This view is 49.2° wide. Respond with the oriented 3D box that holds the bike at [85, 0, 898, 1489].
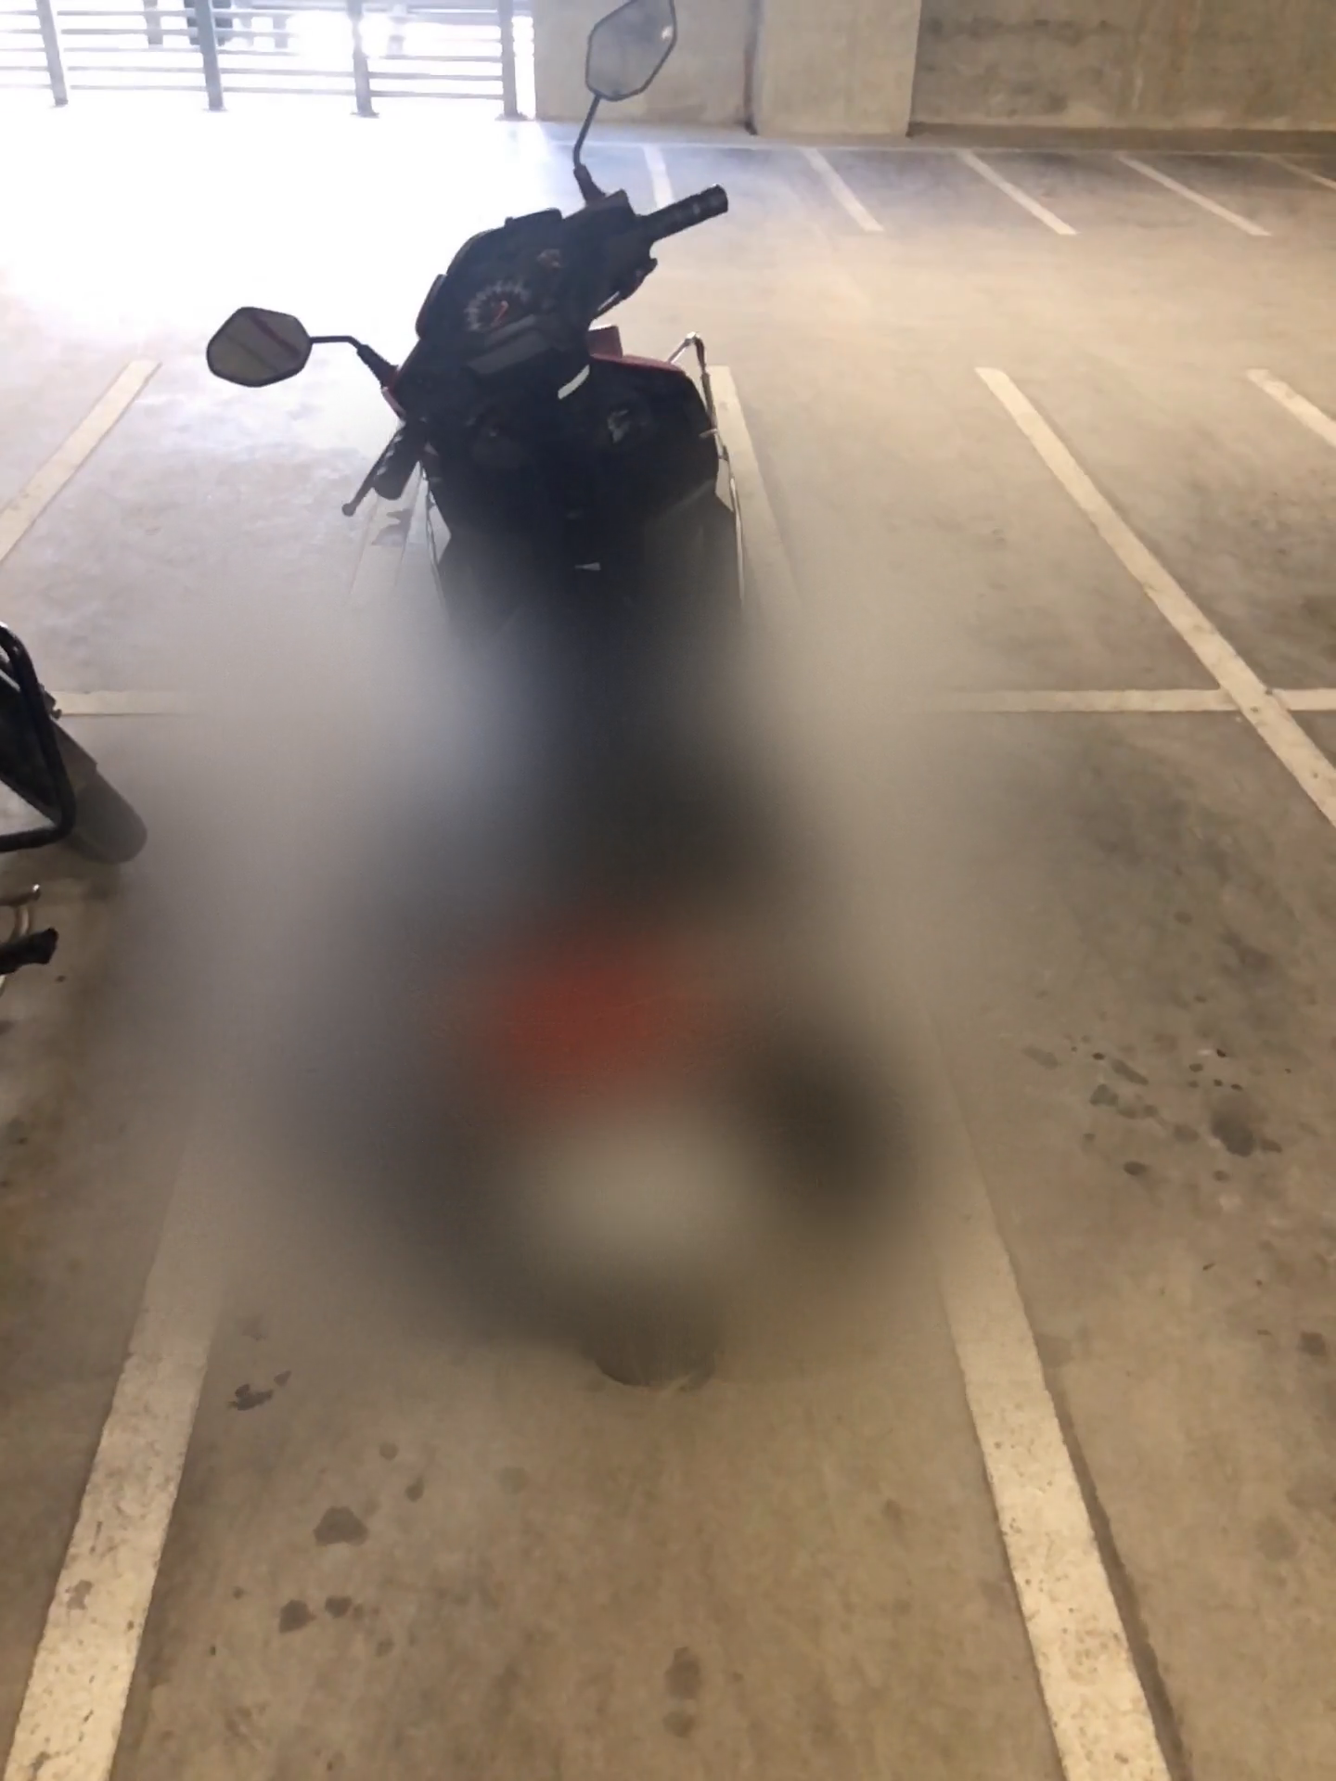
[{"bbox_3d":[-0.242,-0.453,2.118,0.582,1.187,1.961,-3,40,-6],"label":"bike"}]
